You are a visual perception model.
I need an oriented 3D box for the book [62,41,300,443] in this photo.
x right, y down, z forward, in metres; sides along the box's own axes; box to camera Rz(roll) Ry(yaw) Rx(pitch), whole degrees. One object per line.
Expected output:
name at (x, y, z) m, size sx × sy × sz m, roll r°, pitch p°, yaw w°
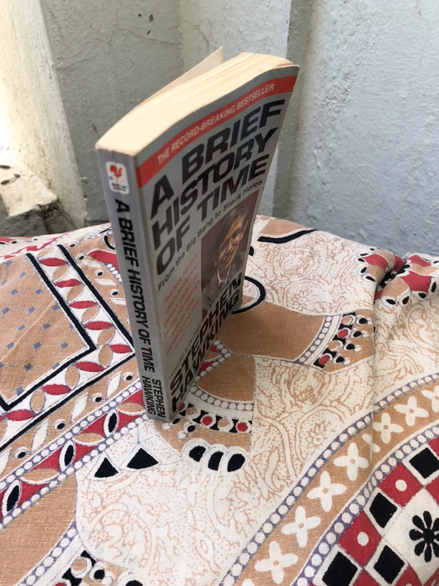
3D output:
book at (-0.009, -0.021, 0.259) m, size 0.030 × 0.169 × 0.130 m, roll 23°, pitch 49°, yaw 20°
